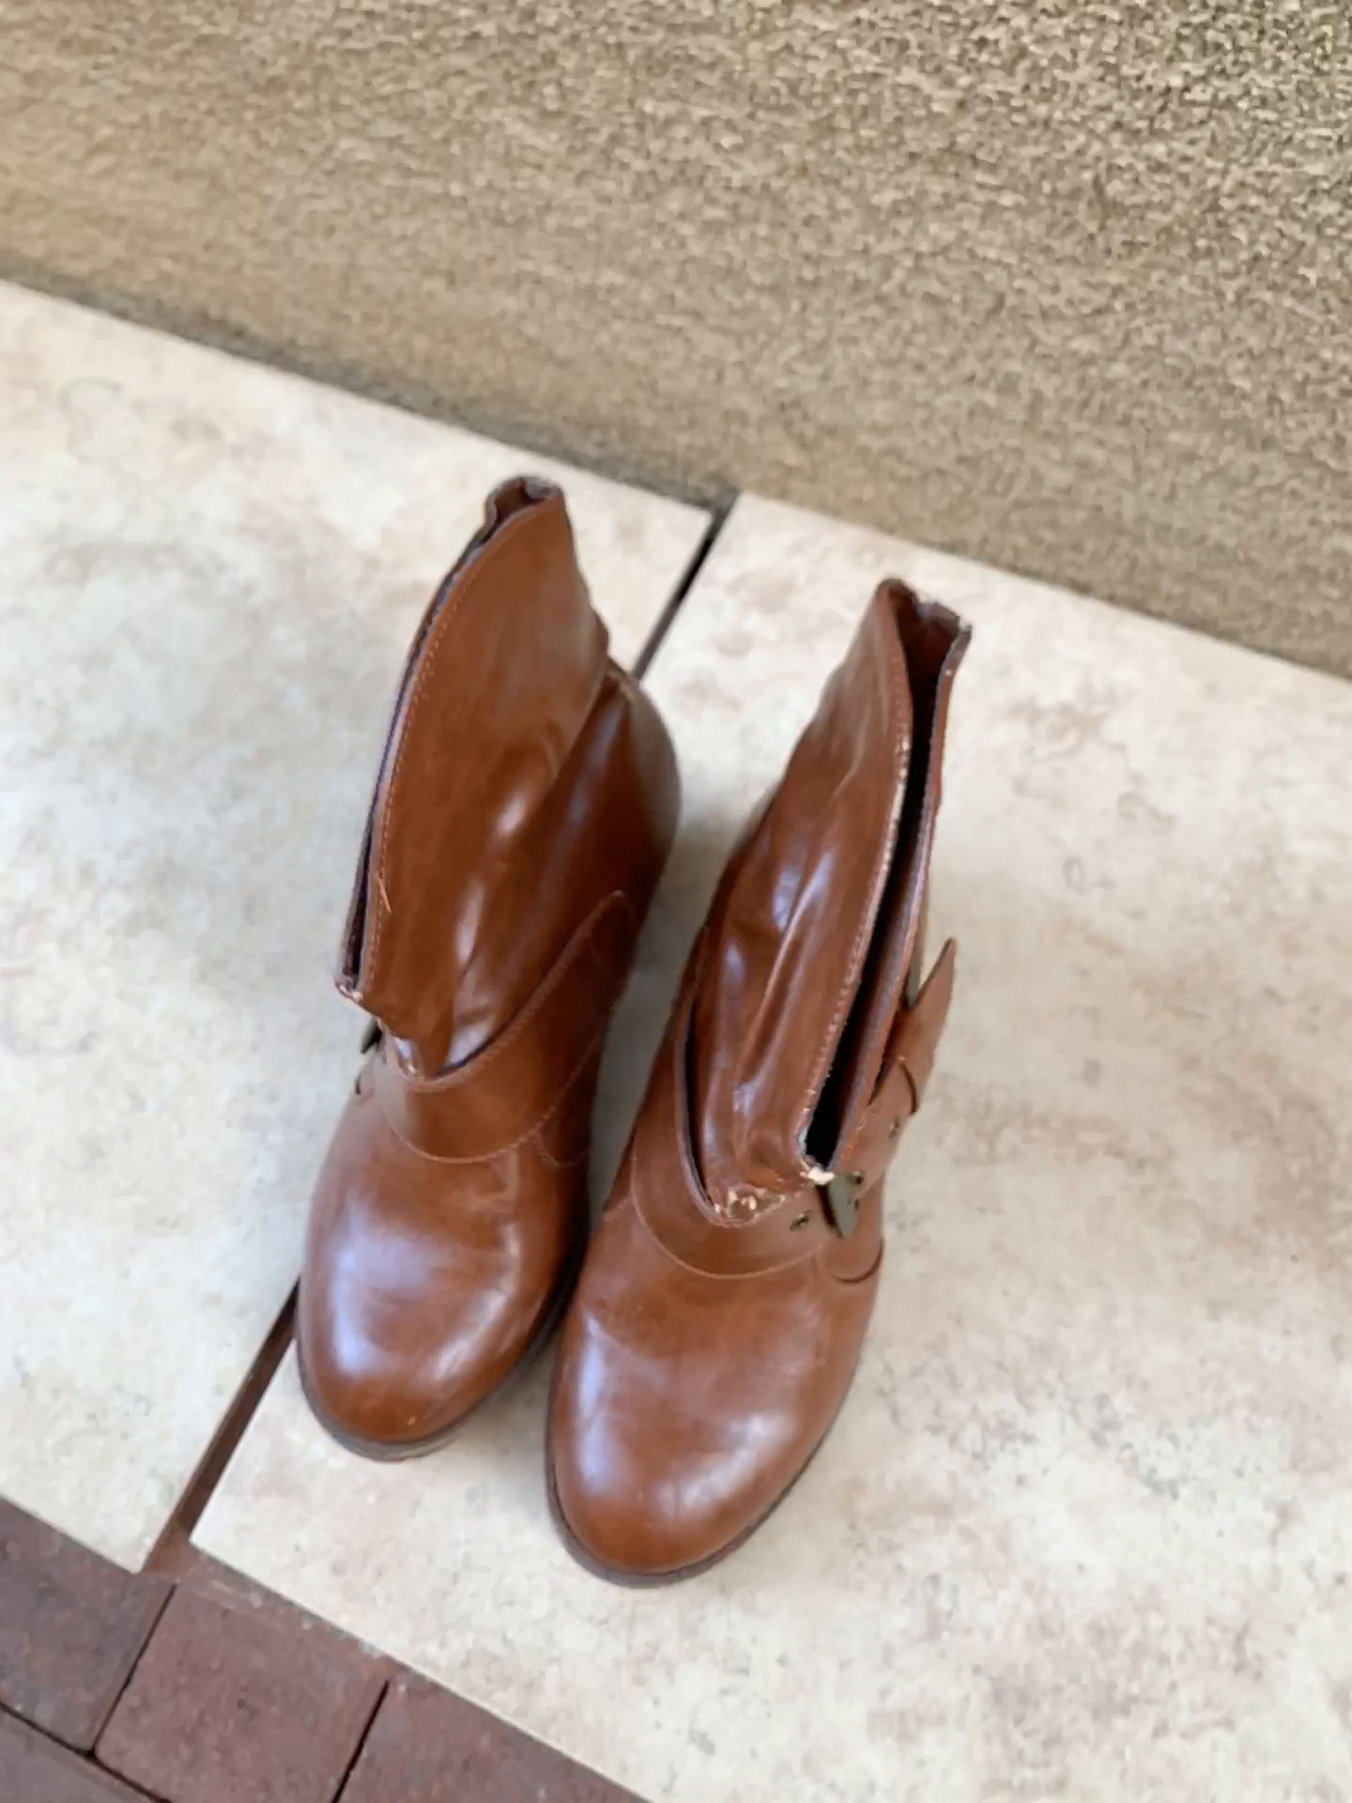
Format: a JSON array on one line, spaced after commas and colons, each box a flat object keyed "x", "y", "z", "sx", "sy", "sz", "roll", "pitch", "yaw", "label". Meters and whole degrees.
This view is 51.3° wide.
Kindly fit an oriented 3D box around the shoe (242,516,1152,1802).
[{"x": 0.022, "y": 0.067, "z": 0.379, "sx": 0.100, "sy": 0.199, "sz": 0.245, "roll": 20, "pitch": 71, "yaw": 13, "label": "shoe"}]

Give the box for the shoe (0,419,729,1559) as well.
[{"x": -0.072, "y": 0.035, "z": 0.399, "sx": 0.095, "sy": 0.199, "sz": 0.245, "roll": 15, "pitch": 70, "yaw": 11, "label": "shoe"}]
